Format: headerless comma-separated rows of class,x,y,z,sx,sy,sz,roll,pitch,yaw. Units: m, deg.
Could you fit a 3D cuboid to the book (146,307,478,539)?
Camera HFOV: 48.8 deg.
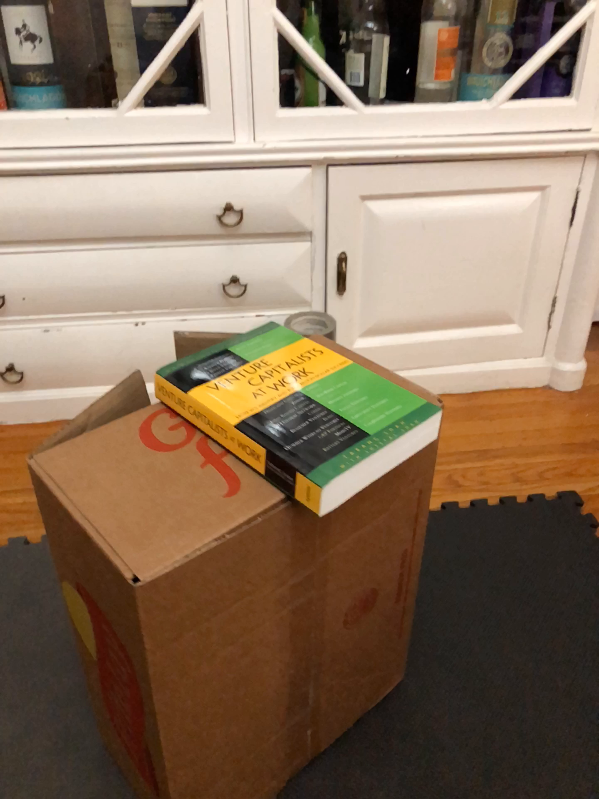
book,0.003,0.002,0.599,0.160,0.040,0.261,-28,43,-34
